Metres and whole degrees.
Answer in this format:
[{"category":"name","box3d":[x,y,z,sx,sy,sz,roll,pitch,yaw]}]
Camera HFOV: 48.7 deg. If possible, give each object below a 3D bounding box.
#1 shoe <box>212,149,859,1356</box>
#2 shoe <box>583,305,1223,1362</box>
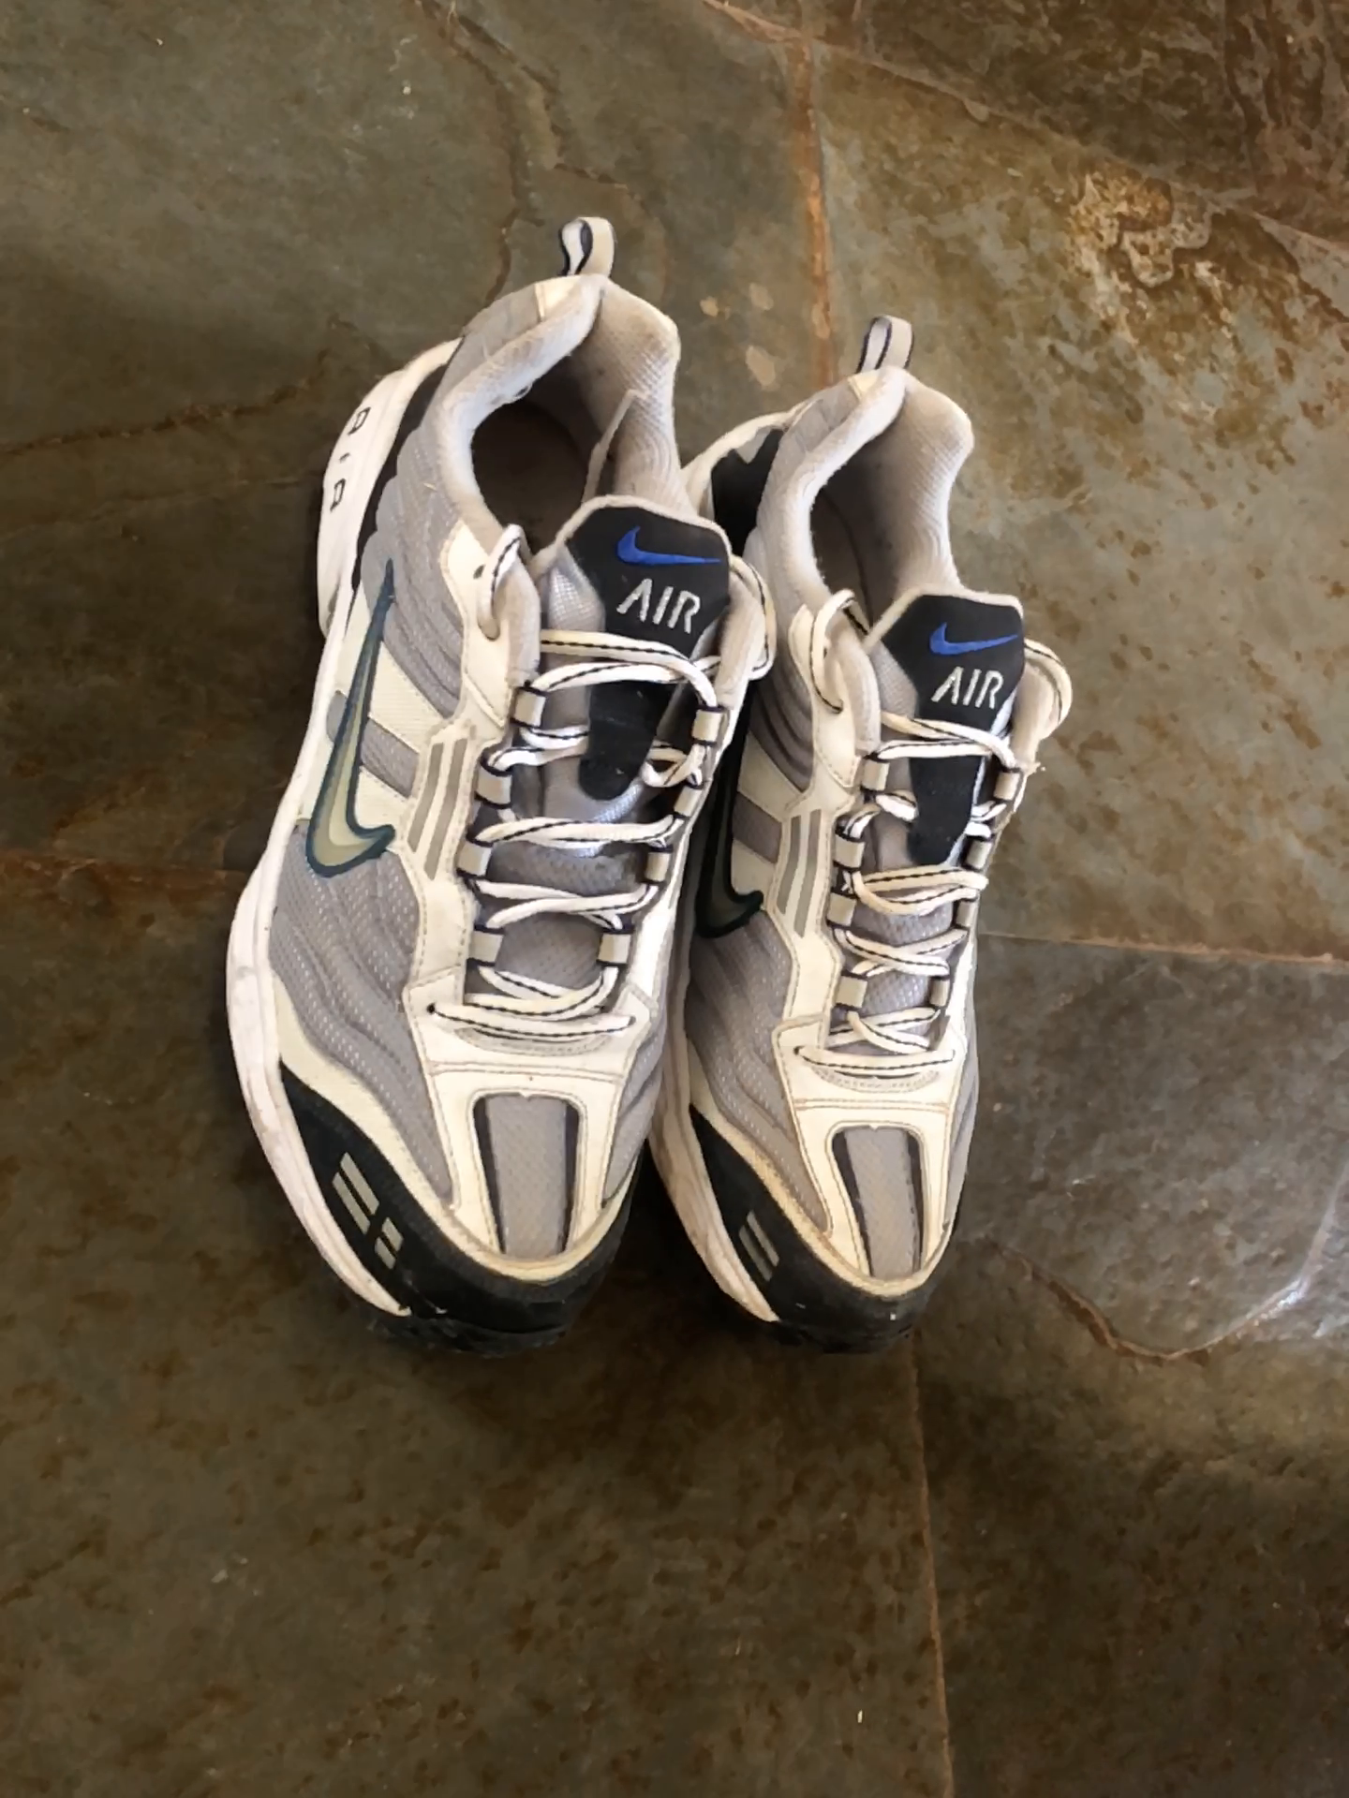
[{"category":"shoe","box3d":[-0.045,-0.025,0.376,0.110,0.119,0.261,5,72,-27]},{"category":"shoe","box3d":[0.052,-0.010,0.419,0.110,0.109,0.261,5,72,-27]}]
